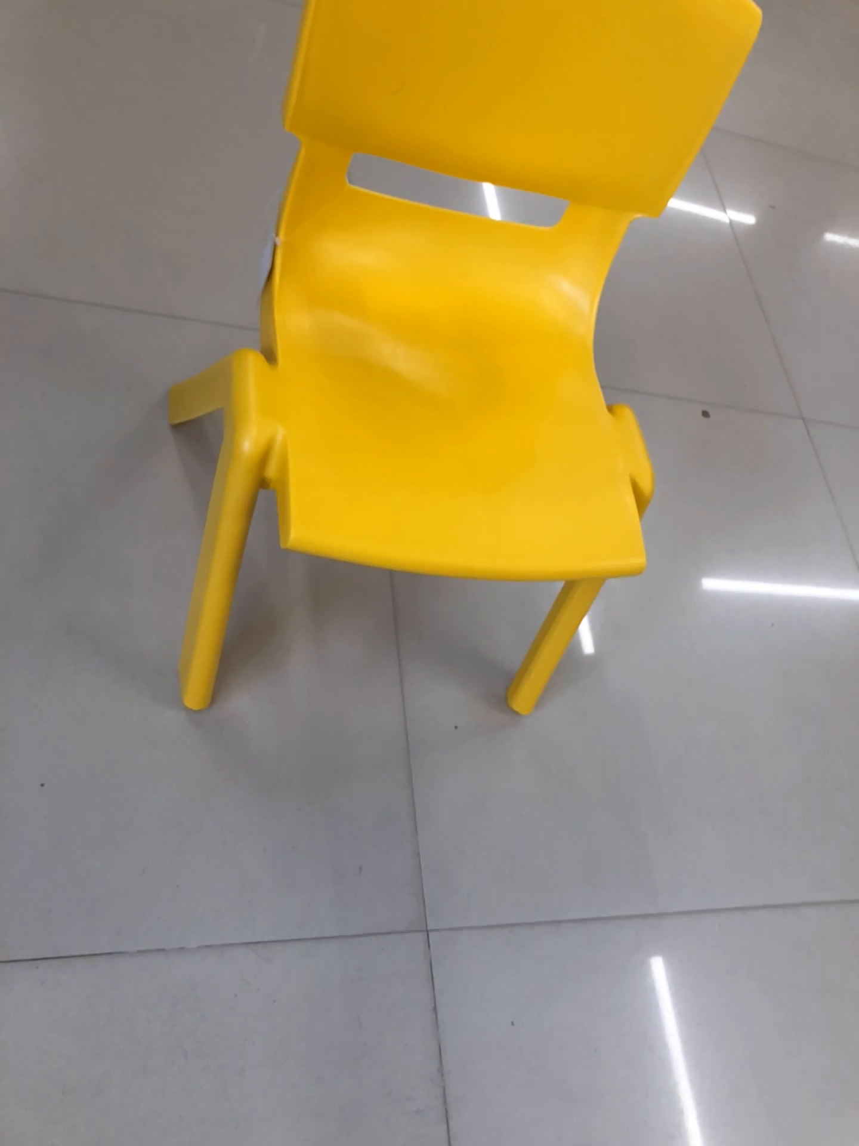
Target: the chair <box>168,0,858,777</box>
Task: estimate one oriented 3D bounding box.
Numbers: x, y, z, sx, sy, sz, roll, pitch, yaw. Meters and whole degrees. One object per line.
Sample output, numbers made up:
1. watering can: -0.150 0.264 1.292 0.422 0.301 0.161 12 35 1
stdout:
1. chair: 0.033 -0.146 0.656 0.361 0.398 0.452 3 60 -22
